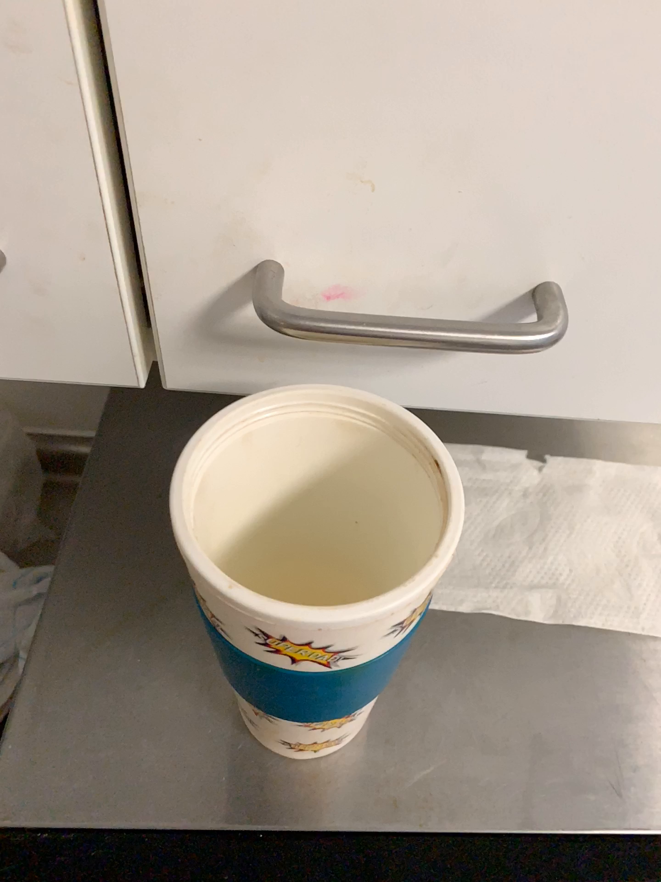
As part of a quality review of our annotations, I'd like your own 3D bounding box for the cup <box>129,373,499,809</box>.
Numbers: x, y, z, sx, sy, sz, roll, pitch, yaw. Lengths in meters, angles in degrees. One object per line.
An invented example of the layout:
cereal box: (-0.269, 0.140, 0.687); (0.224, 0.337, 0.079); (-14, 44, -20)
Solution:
cup: (-0.009, 0.063, 0.257); (0.093, 0.146, 0.097); (2, 47, -2)
